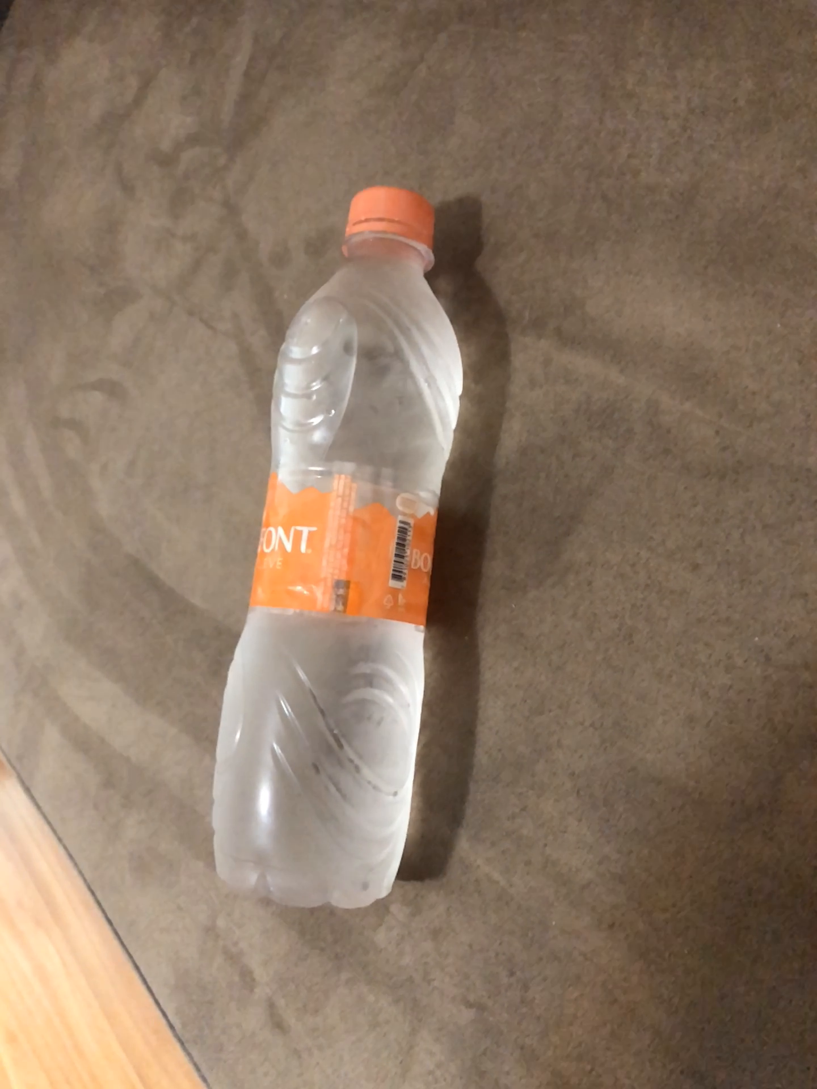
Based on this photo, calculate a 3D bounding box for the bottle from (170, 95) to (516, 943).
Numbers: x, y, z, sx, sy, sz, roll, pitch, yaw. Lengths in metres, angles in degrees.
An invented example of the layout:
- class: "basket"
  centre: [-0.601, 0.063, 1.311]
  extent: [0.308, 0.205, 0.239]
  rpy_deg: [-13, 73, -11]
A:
- class: "bottle"
  centre: [-0.019, -0.010, 0.294]
  extent: [0.070, 0.050, 0.240]
  rpy_deg: [0, 81, 38]
